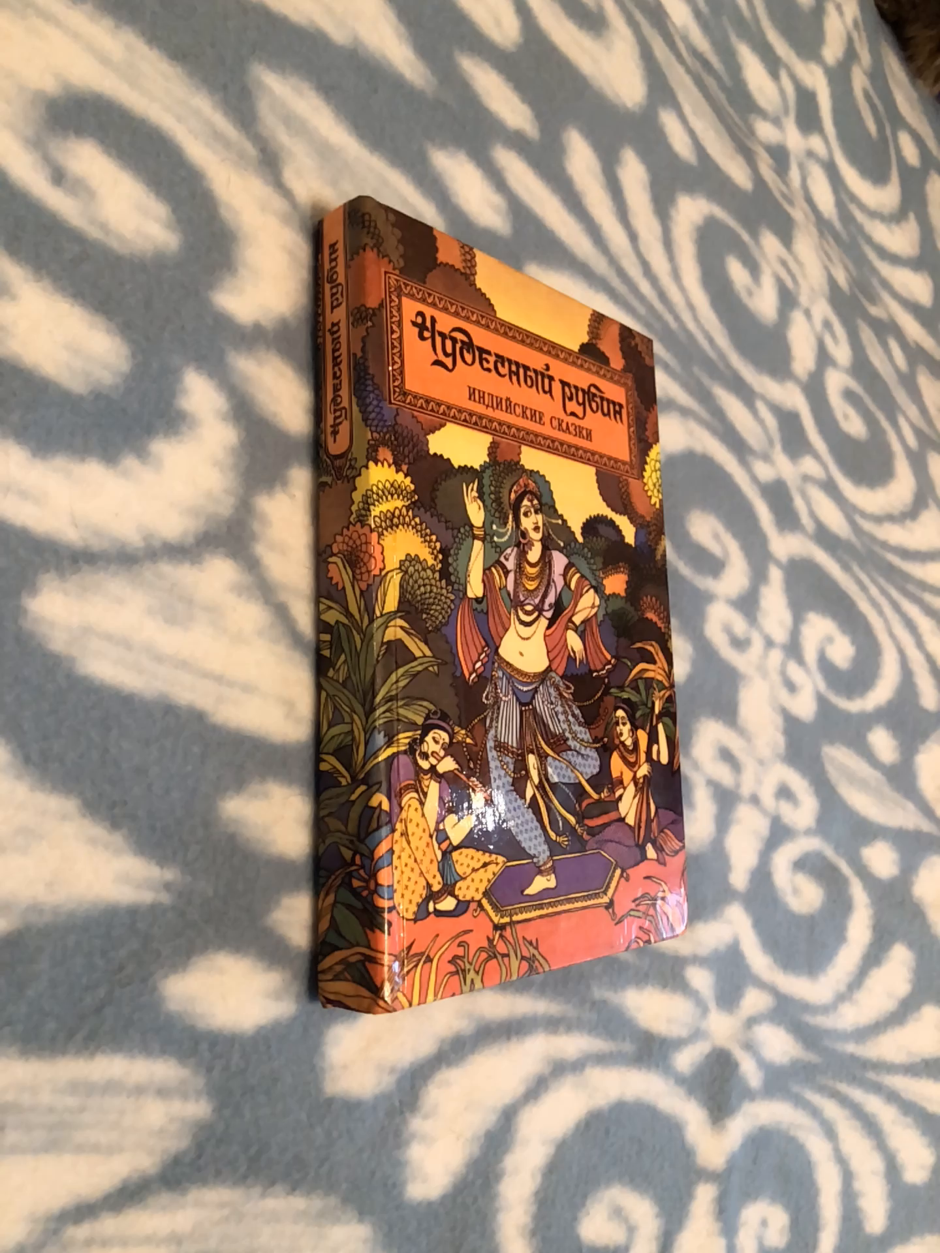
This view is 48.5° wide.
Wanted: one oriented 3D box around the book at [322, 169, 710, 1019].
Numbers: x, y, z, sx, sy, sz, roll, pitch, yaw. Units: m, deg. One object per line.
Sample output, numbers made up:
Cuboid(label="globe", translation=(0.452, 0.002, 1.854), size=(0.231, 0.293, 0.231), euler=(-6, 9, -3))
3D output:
Cuboid(label="book", translation=(0.019, -0.007, 0.314), size=(0.140, 0.027, 0.210), euler=(7, 79, -47))
